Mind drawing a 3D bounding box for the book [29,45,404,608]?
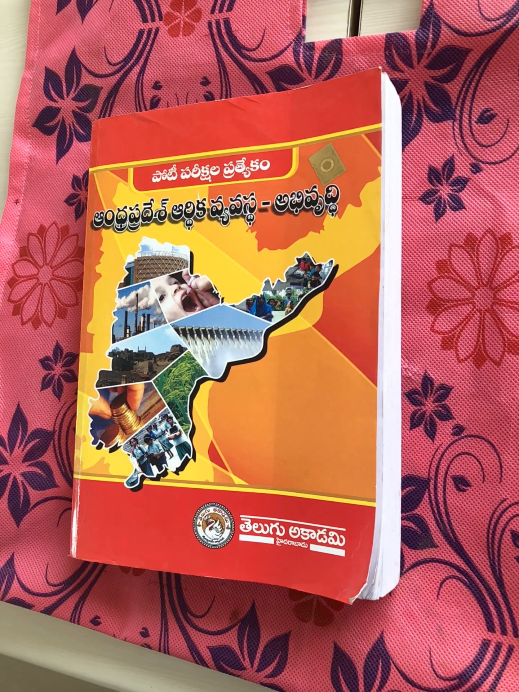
[{"bbox_3d":[-0.025,-0.011,0.325,0.200,0.060,0.260,0,88,19],"label":"book"}]
